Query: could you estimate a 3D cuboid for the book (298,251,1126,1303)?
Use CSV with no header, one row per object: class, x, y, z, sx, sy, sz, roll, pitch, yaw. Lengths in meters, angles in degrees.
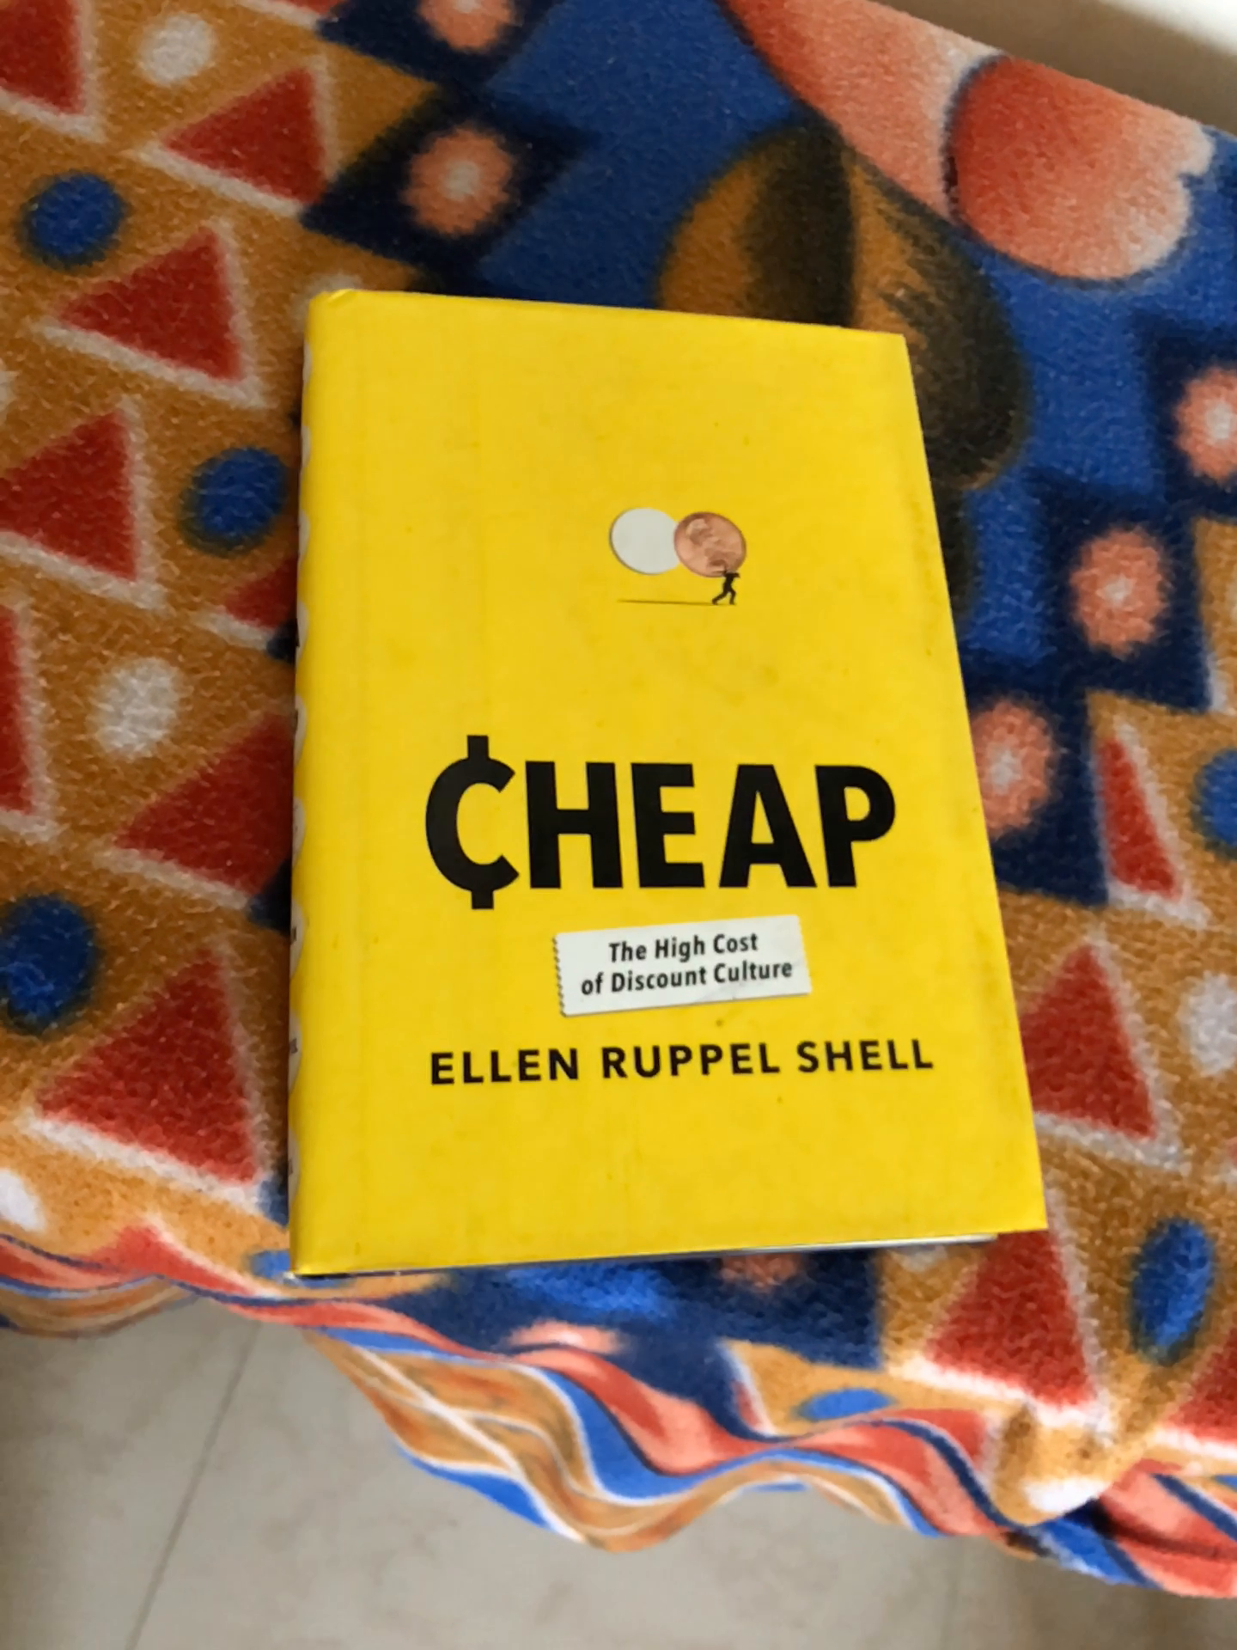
book,0.013,-0.020,0.327,0.170,0.030,0.240,1,70,-13
